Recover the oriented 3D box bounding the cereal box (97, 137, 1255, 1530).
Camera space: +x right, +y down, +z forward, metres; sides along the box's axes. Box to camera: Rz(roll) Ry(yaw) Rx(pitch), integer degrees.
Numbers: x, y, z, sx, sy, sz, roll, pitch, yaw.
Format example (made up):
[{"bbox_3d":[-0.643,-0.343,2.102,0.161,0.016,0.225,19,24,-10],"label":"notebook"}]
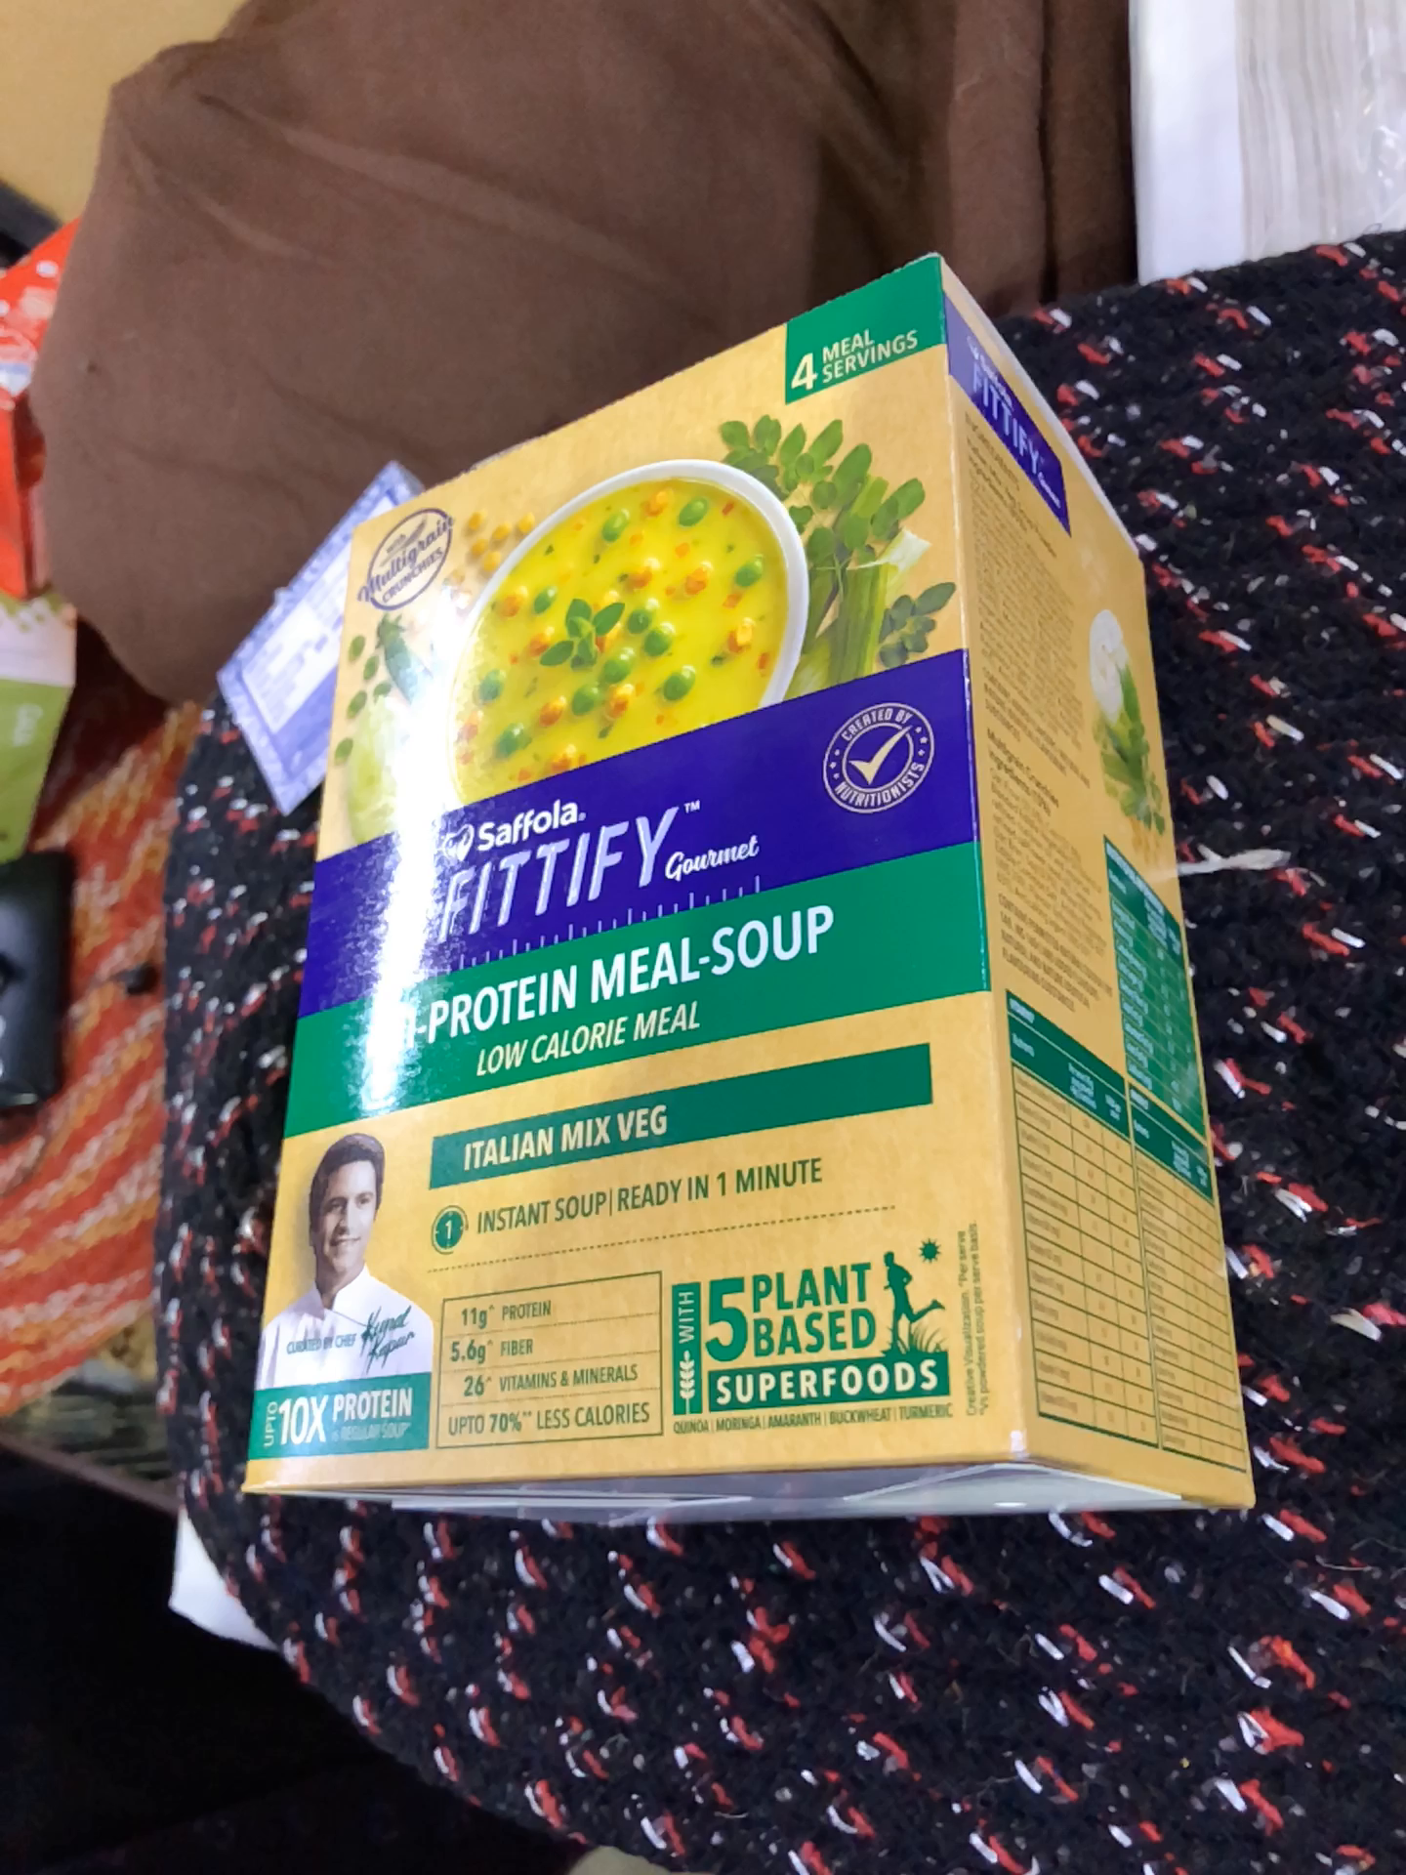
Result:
[{"bbox_3d":[-0.003,-0.002,0.241,0.130,0.080,0.170,-13,63,31],"label":"cereal box"}]
